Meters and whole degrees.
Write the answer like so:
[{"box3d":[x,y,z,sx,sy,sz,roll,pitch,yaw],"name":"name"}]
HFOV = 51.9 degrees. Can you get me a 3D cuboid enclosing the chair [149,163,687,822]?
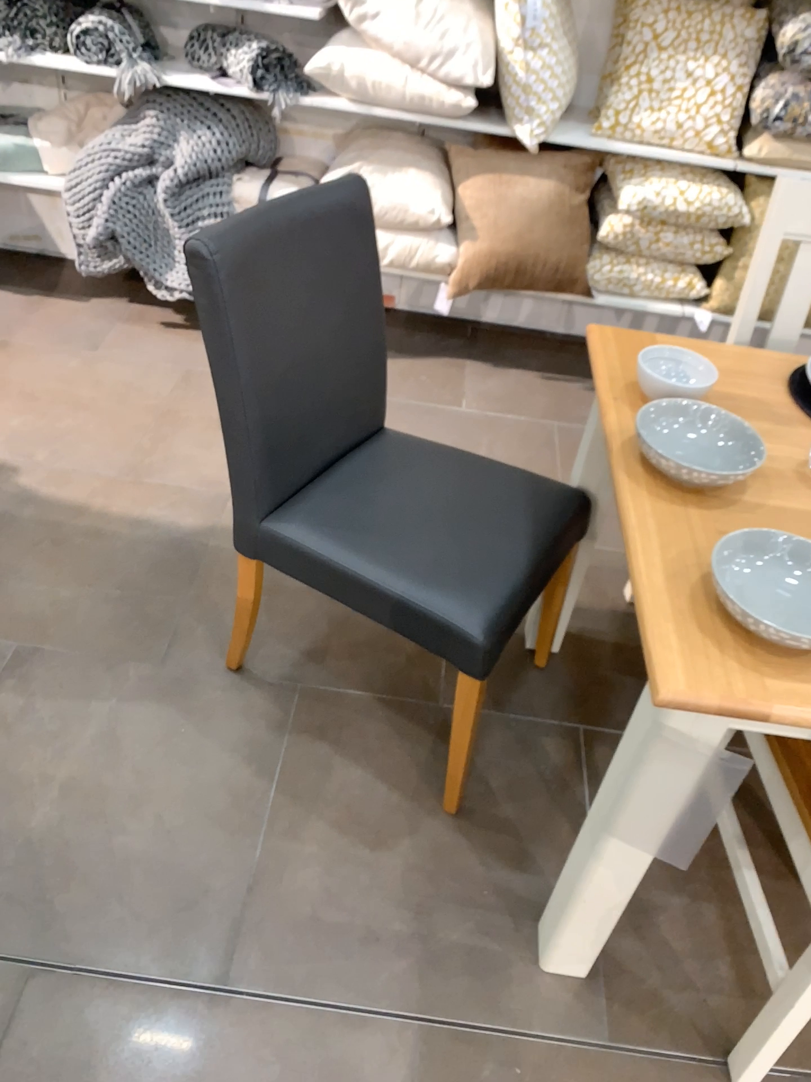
[{"box3d":[-0.014,-0.083,1.519,0.651,0.906,0.479,26,43,20],"name":"chair"}]
